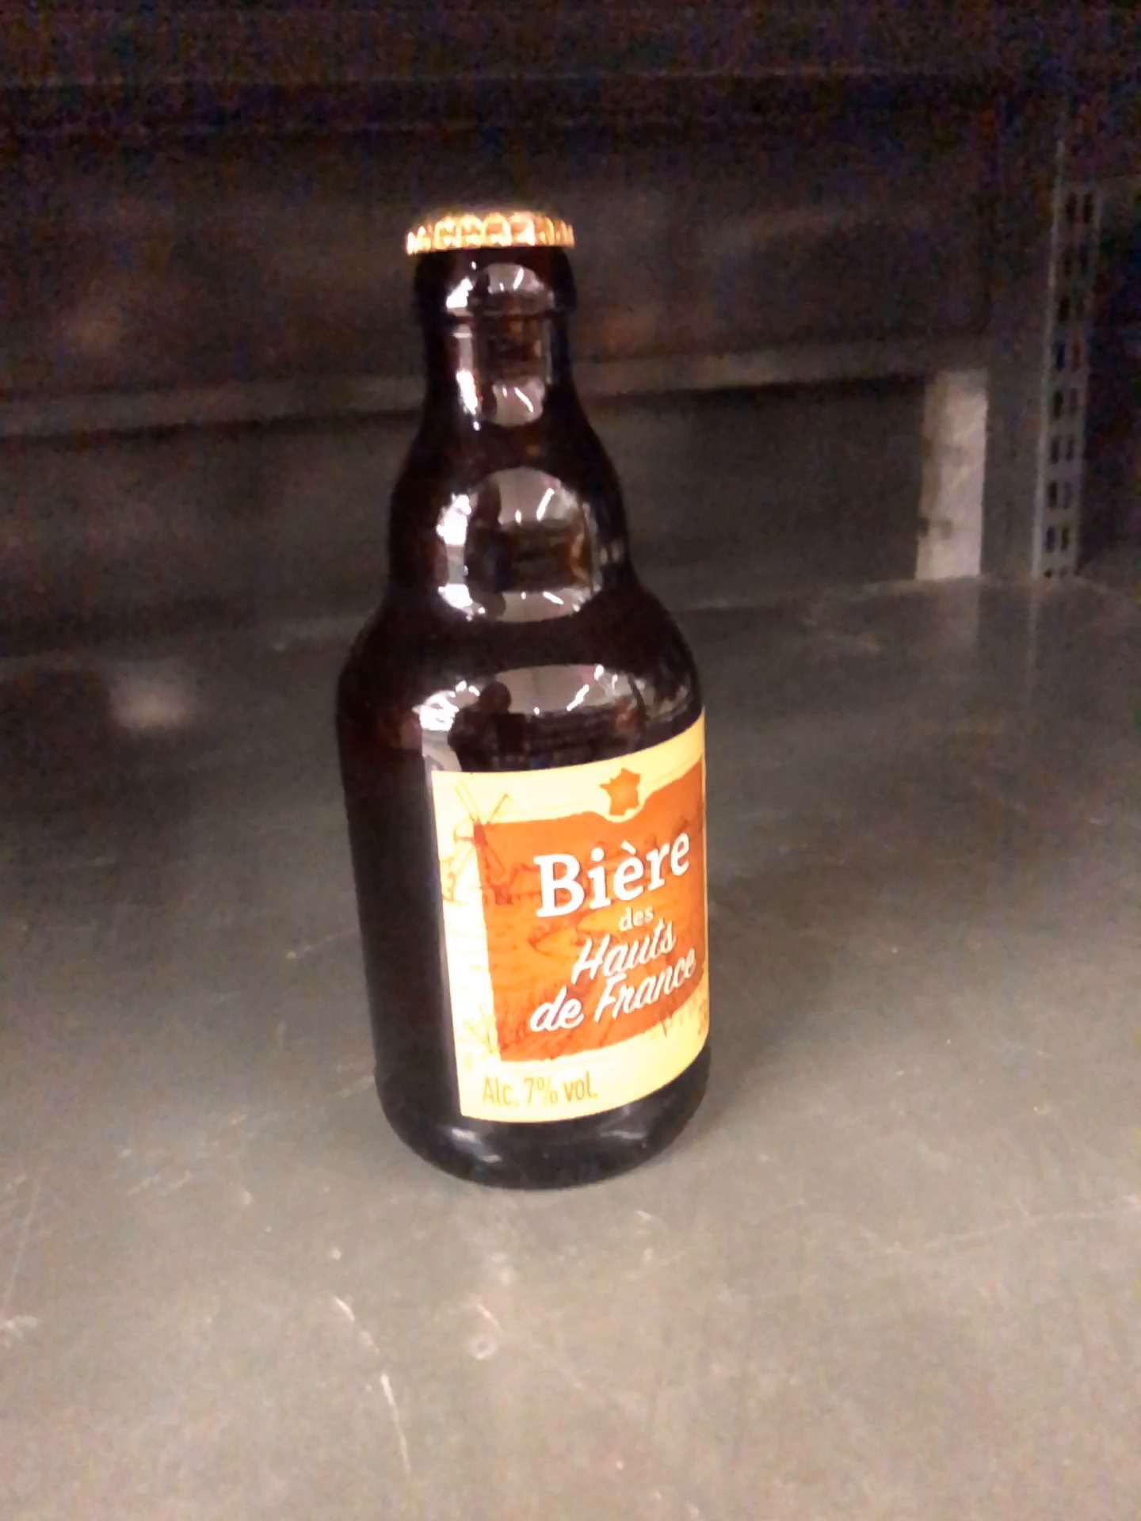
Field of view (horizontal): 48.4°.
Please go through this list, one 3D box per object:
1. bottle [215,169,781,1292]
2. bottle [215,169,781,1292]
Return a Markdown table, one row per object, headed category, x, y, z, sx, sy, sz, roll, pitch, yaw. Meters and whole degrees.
| category | x | y | z | sx | sy | sz | roll | pitch | yaw |
| --- | --- | --- | --- | --- | --- | --- | --- | --- | --- |
| bottle | -0.011 | -0.008 | 0.238 | 0.070 | 0.179 | 0.070 | -3 | 18 | 1 |
| bottle | -0.011 | -0.008 | 0.238 | 0.070 | 0.179 | 0.070 | -3 | 18 | 1 |
